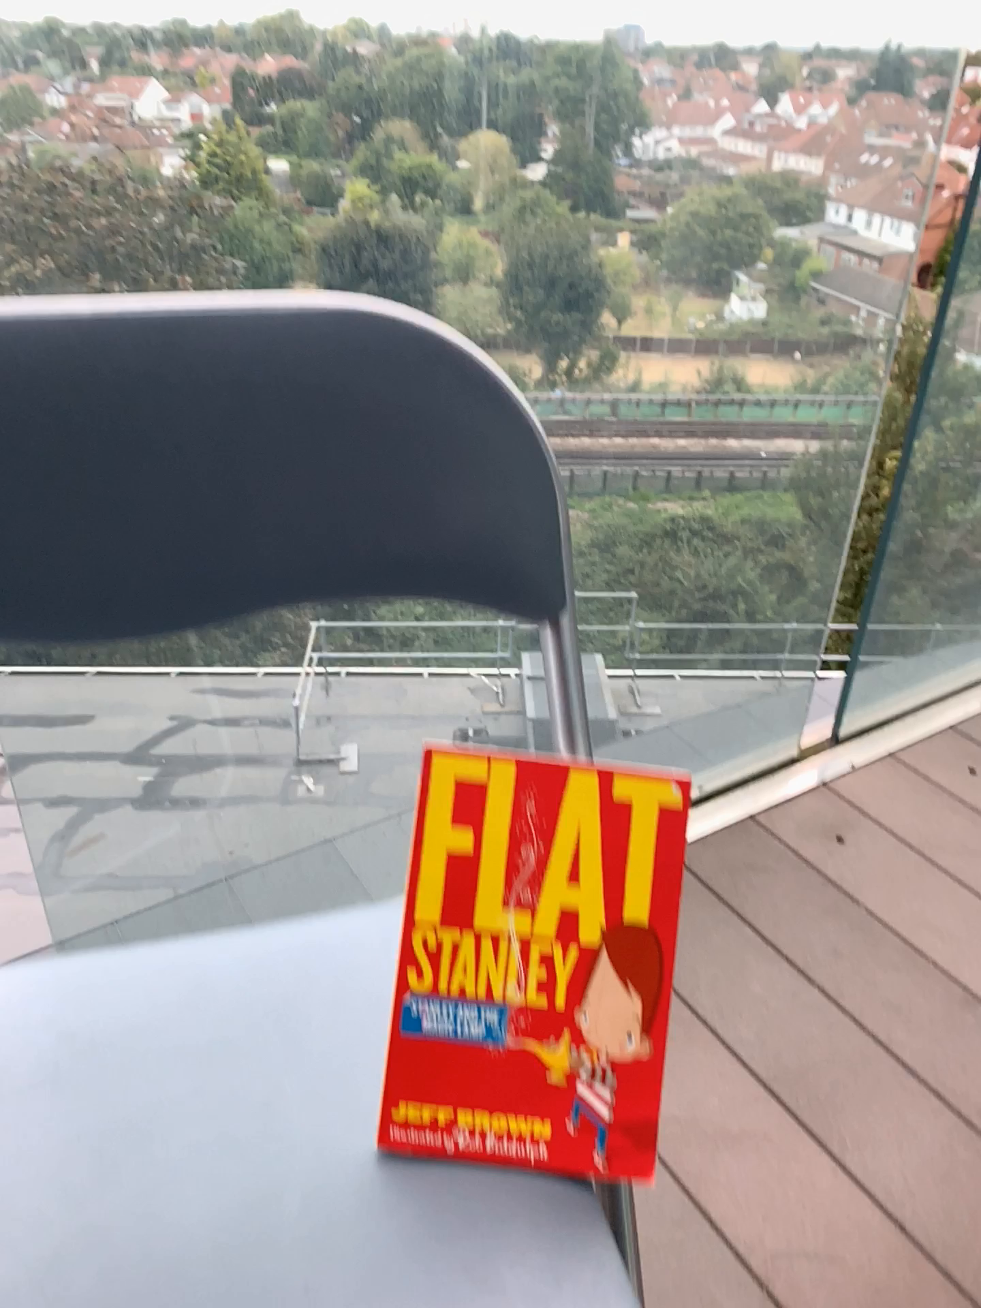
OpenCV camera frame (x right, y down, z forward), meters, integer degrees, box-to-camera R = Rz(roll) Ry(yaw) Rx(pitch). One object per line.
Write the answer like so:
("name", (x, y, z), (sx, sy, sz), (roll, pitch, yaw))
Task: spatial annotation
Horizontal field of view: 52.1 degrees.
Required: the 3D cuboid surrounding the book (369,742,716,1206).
("book", (0.024, 0.144, 0.469), (0.140, 0.190, 0.020), (6, -4, 6))
